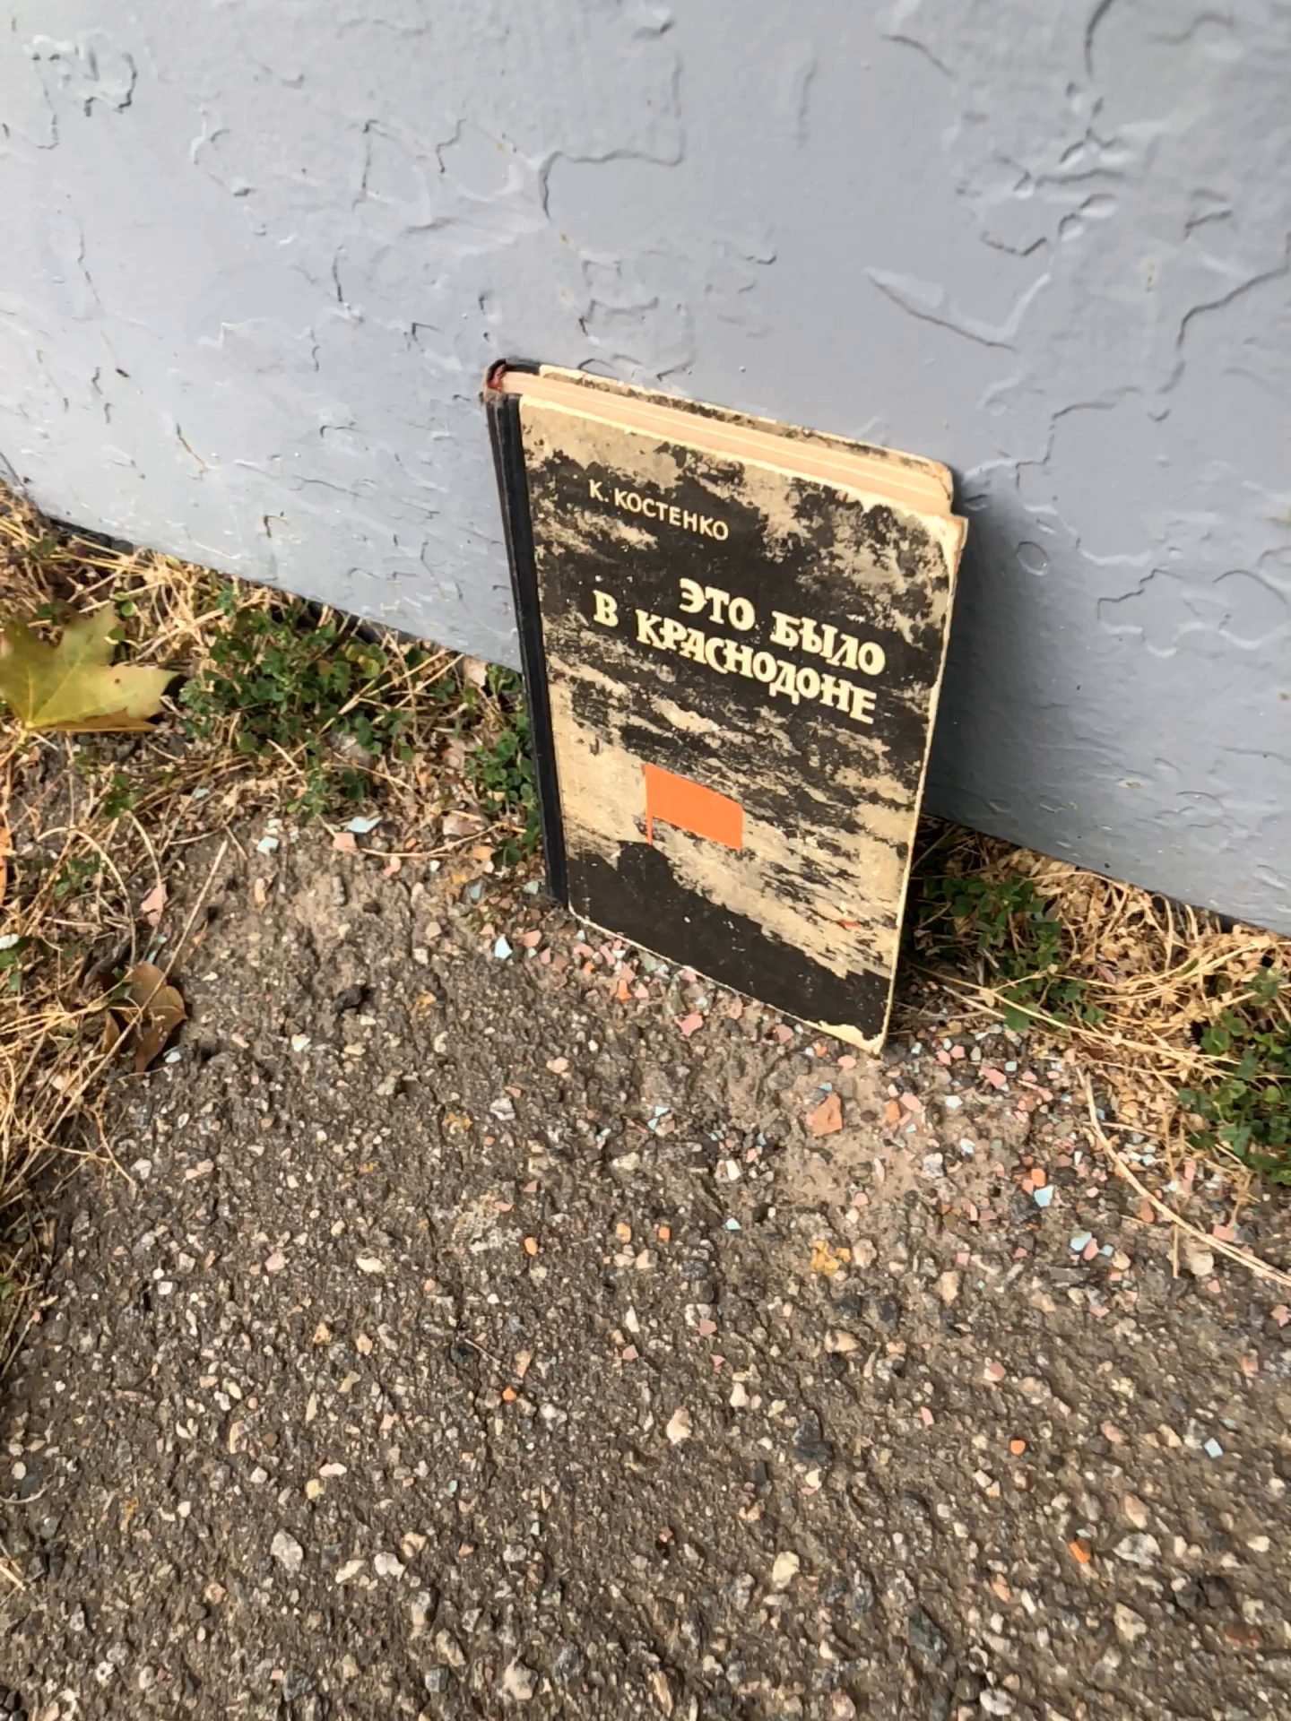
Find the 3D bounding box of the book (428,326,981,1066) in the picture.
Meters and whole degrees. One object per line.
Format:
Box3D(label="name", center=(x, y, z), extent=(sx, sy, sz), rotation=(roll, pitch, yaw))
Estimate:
Box3D(label="book", center=(0.015, -0.040, 0.419), extent=(0.140, 0.199, 0.030), rotation=(23, 51, 25))
